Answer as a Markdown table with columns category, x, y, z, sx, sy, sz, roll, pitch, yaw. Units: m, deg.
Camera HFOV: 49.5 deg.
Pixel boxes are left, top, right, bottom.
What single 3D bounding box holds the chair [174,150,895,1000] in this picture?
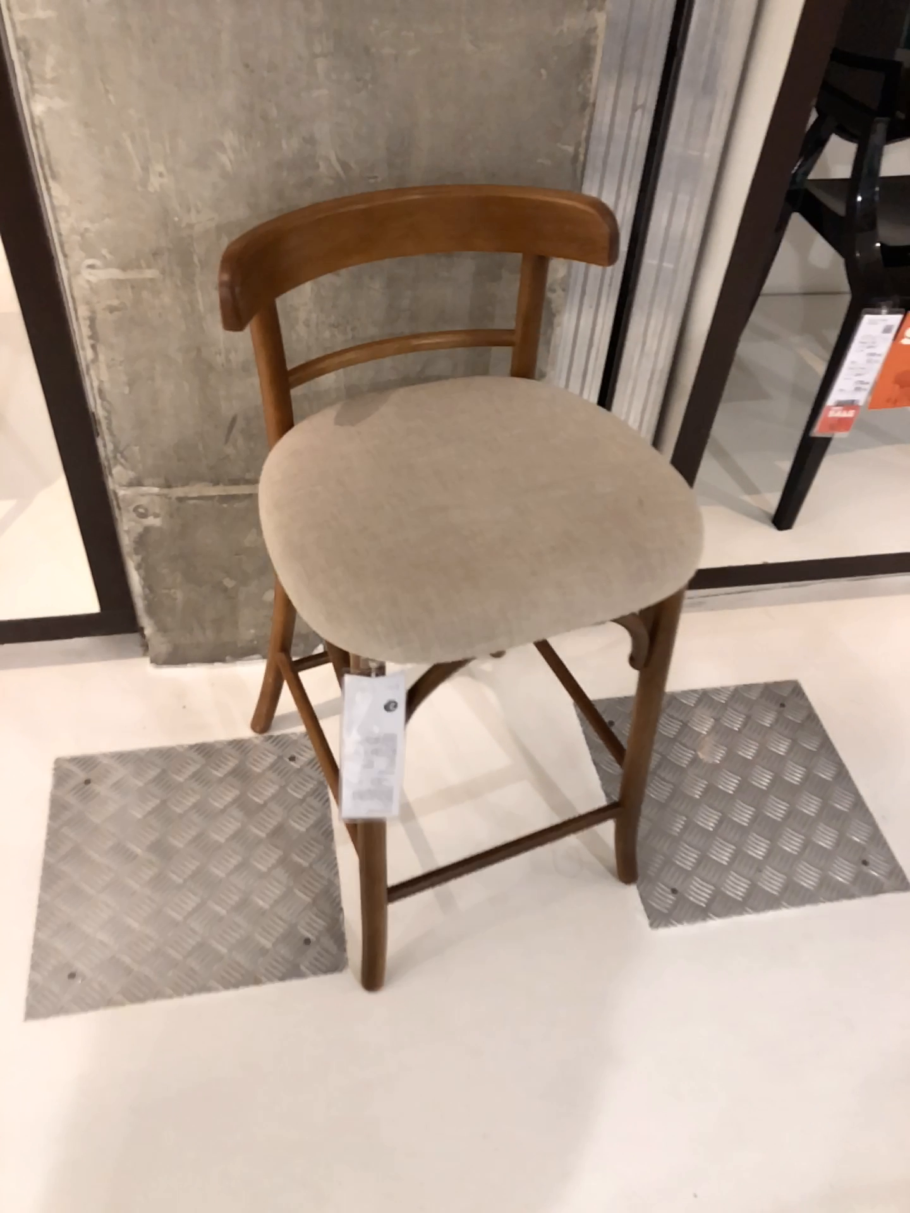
| category | x | y | z | sx | sy | sz | roll | pitch | yaw |
| --- | --- | --- | --- | --- | --- | --- | --- | --- | --- |
| chair | 0.020 | -0.017 | 1.171 | 0.481 | 0.794 | 0.482 | -16 | 49 | -21 |
